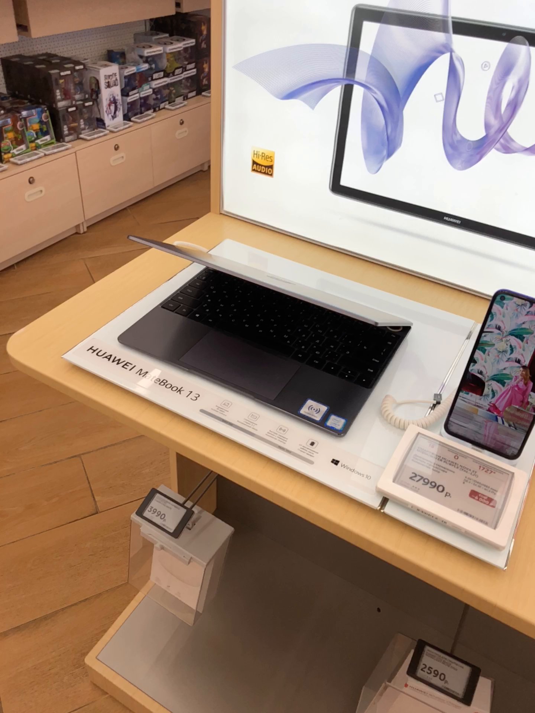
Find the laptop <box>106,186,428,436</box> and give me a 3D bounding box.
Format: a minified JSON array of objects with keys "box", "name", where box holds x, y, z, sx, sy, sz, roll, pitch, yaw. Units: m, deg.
[{"box":[0.002,-0.068,0.648,0.271,0.106,0.204,23,43,20],"name":"laptop"}]
